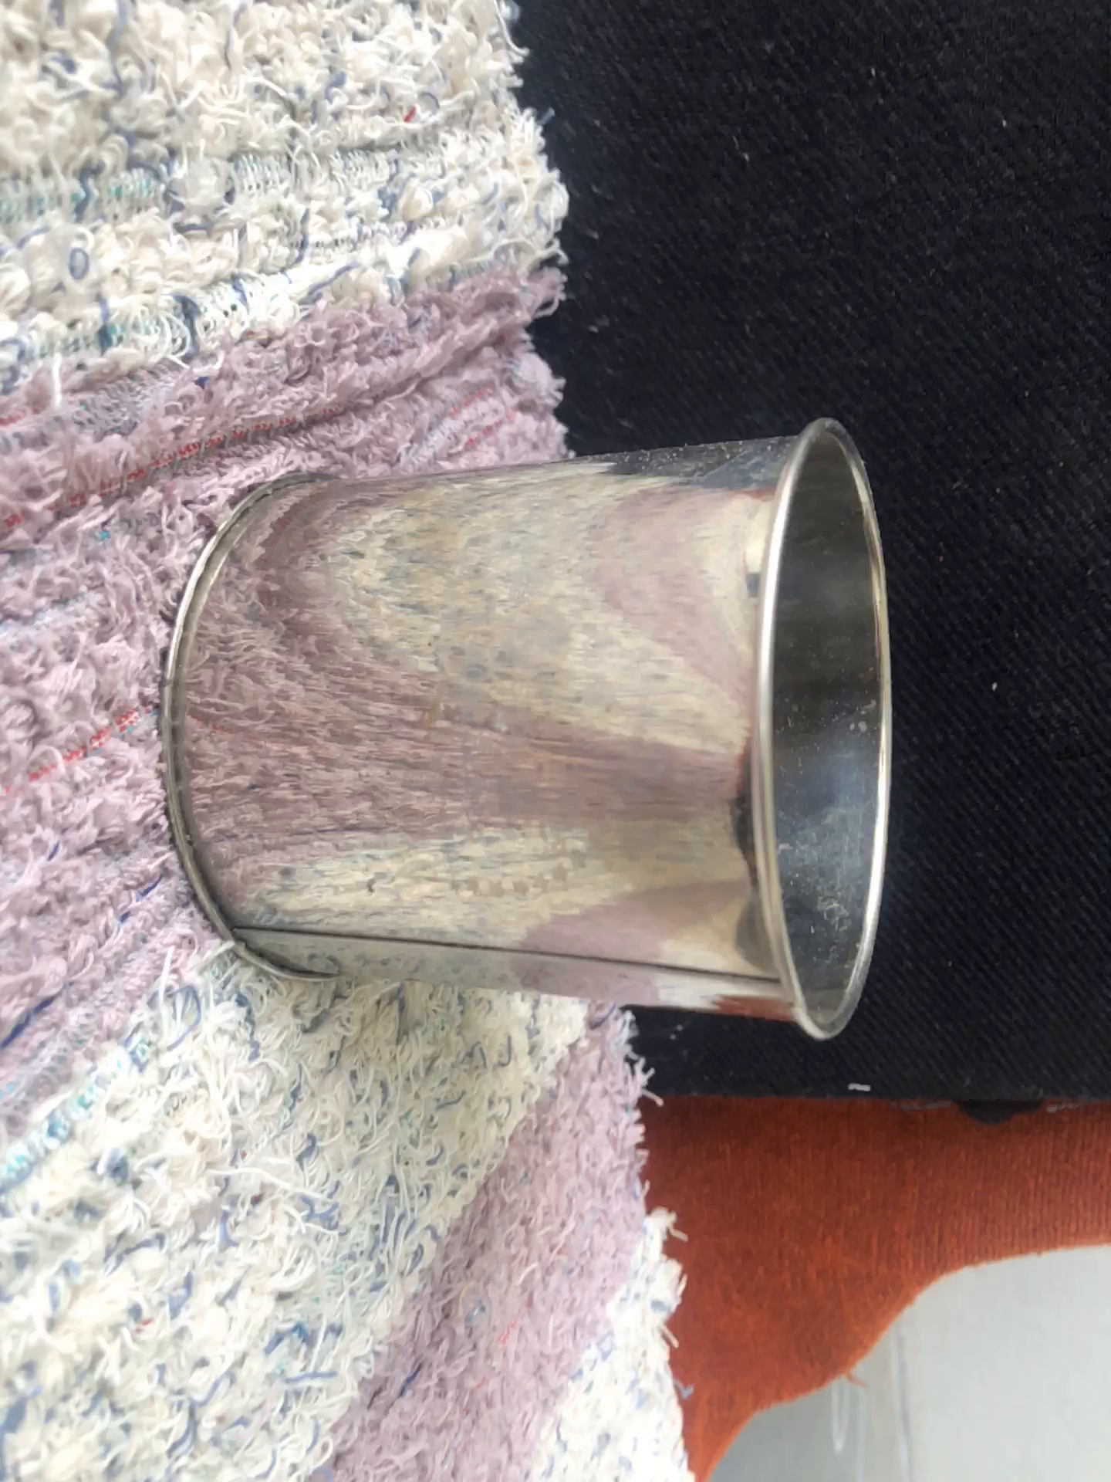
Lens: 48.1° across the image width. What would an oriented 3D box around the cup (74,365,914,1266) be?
[{"bbox_3d":[0.004,0.003,0.176,0.080,0.079,0.090,-49,135,-58],"label":"cup"}]
